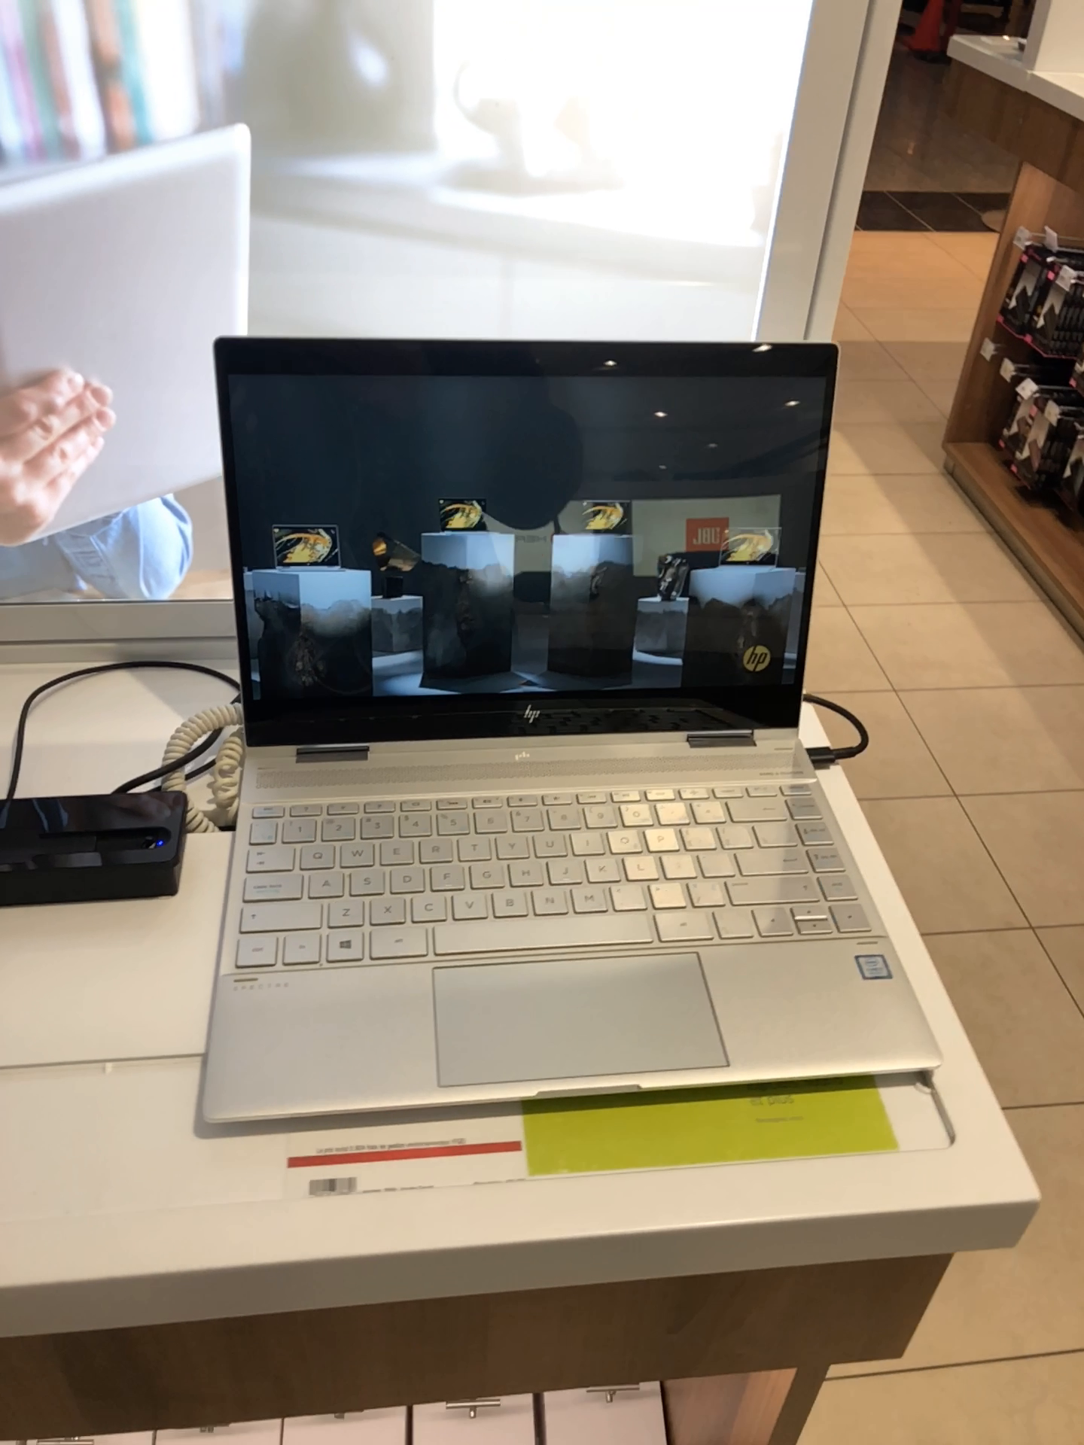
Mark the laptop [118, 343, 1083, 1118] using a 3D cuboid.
[{"bbox_3d":[0.008,-0.019,0.527,0.299,0.193,0.283,-2,39,-6],"label":"laptop"}]
